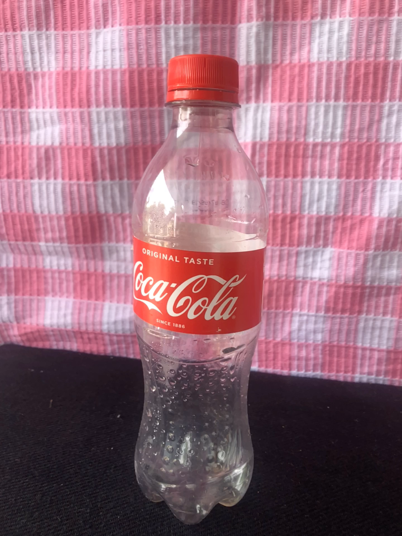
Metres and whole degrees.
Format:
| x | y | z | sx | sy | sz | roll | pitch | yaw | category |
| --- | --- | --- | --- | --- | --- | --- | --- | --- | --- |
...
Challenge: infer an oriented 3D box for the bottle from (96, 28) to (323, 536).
| x | y | z | sx | sy | sz | roll | pitch | yaw | category |
| --- | --- | --- | --- | --- | --- | --- | --- | --- | --- |
| 0.001 | 0.011 | 0.192 | 0.060 | 0.189 | 0.060 | 2 | 17 | -1 | bottle |
